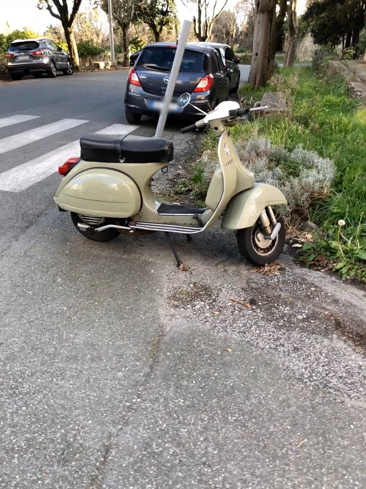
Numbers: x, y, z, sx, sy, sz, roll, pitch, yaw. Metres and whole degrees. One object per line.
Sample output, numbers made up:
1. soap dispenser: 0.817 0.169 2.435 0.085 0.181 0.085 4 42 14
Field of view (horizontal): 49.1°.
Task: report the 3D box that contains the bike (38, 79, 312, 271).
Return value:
1. bike: -0.045 -0.462 2.595 1.441 1.028 0.624 3 29 8
